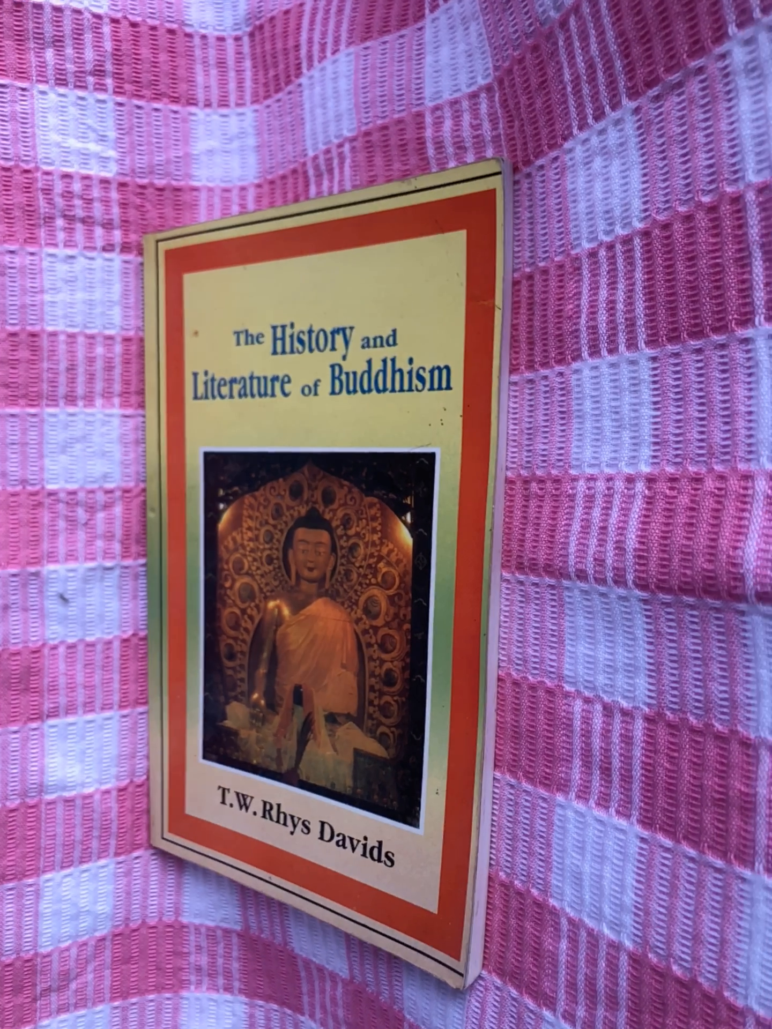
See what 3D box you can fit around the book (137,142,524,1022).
[{"bbox_3d":[-0.027,0.016,0.267,0.020,0.139,0.220,-3,96,-50],"label":"book"}]
